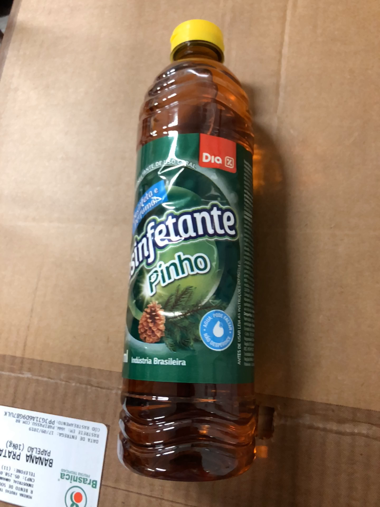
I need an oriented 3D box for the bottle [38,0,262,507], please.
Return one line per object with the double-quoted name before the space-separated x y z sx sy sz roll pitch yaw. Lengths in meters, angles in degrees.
"bottle" -0.008 -0.013 0.202 0.060 0.070 0.220 -7 71 29
